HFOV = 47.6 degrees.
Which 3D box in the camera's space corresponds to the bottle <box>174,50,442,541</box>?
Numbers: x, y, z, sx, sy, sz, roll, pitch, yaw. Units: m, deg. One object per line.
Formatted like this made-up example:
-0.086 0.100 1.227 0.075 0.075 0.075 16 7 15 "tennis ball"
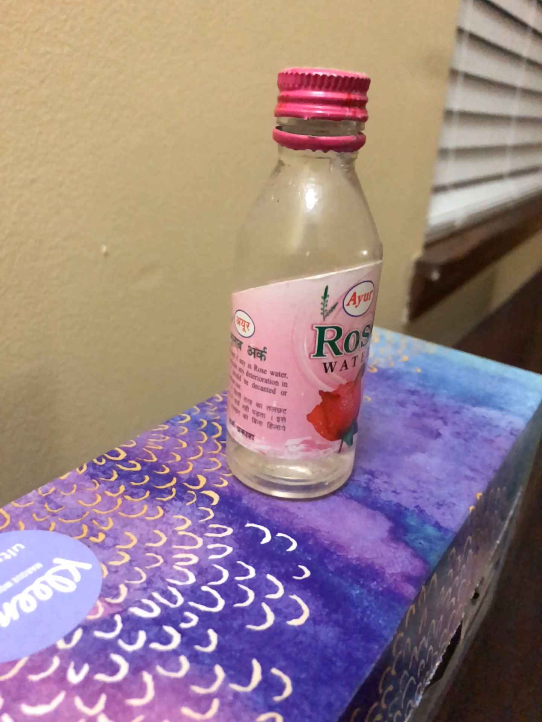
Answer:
0.005 -0.016 0.147 0.040 0.100 0.040 2 21 -1 "bottle"
